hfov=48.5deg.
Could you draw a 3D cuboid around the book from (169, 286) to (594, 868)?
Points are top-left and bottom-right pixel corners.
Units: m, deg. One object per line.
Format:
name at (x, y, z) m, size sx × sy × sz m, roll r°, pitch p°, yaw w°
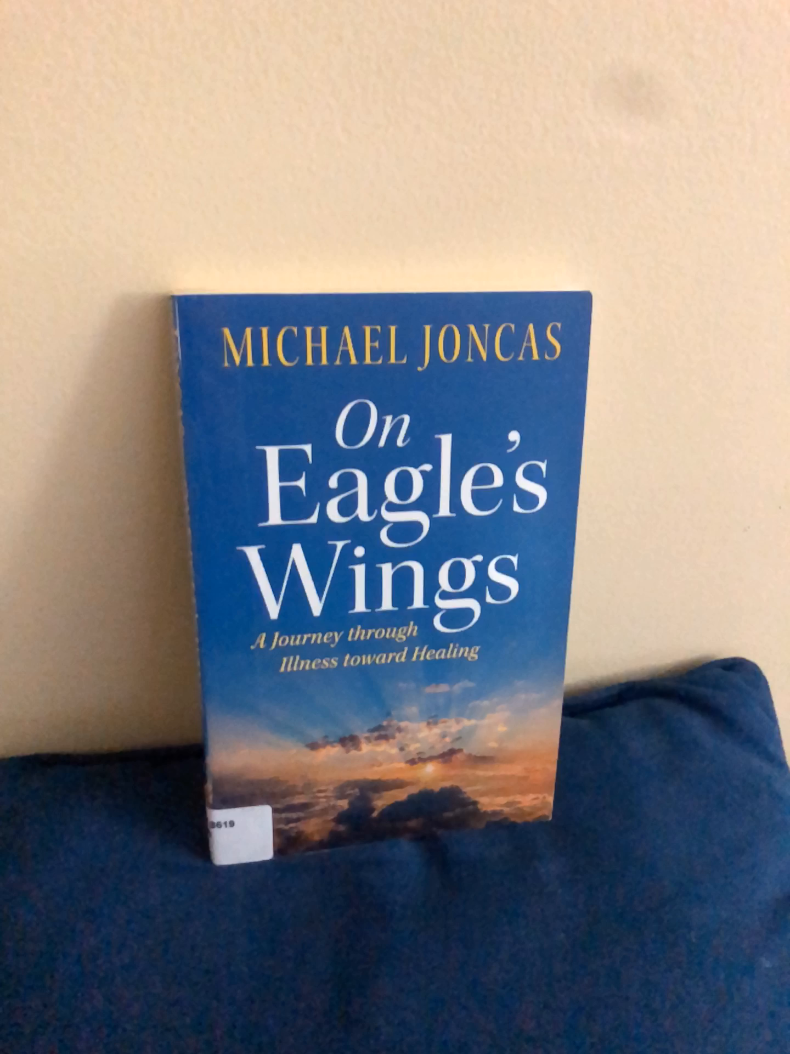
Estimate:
book at (-0.003, 0.022, 0.319) m, size 0.139 × 0.210 × 0.014 m, roll -3°, pitch 18°, yaw -12°
